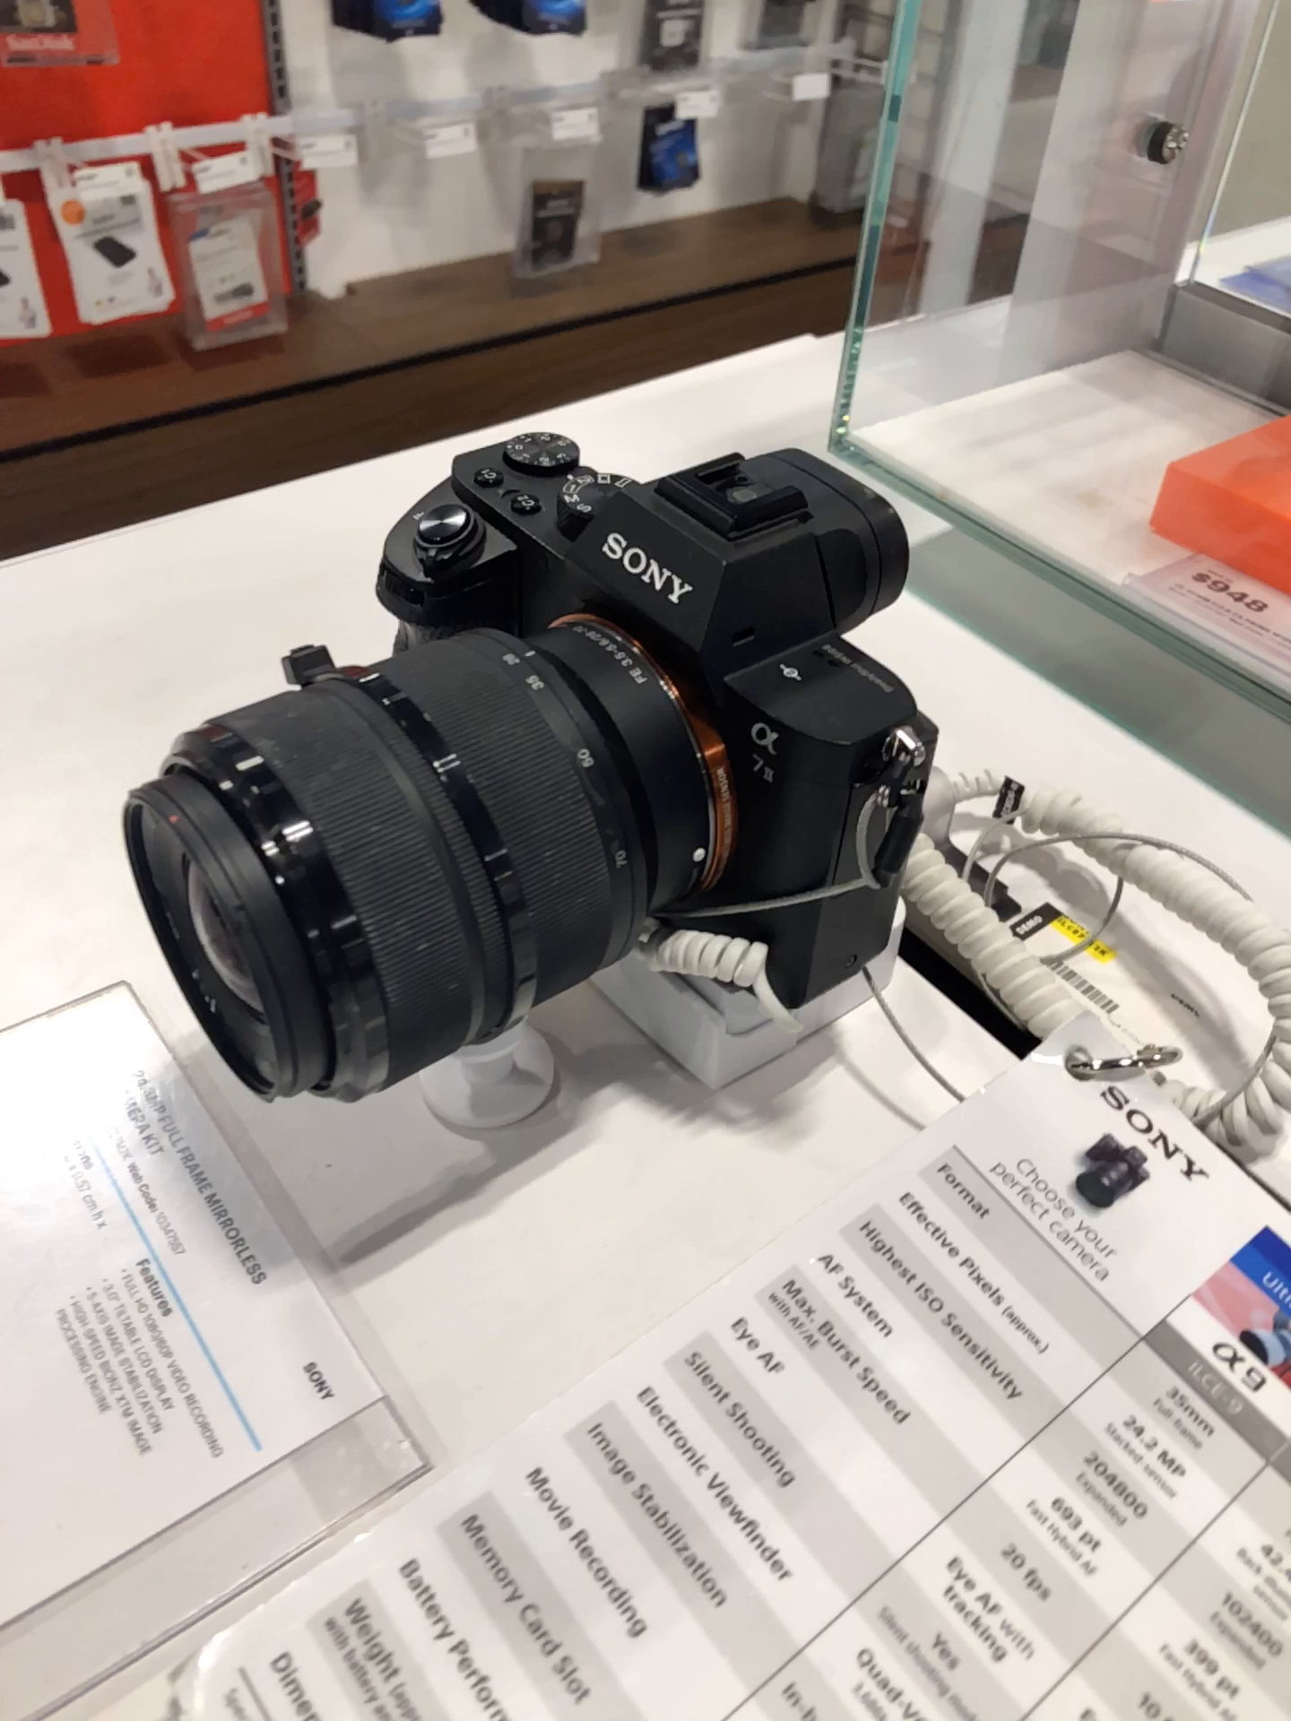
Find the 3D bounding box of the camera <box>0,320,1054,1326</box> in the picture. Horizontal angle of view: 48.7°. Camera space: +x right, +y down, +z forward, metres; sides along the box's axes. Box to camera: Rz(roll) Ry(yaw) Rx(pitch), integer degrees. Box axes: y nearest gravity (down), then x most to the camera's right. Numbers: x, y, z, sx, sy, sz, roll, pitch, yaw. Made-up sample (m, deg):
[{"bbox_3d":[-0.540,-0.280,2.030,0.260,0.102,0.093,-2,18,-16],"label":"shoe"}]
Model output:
[{"bbox_3d":[-0.029,-0.022,0.269,0.140,0.089,0.131,-27,50,-30],"label":"camera"}]
